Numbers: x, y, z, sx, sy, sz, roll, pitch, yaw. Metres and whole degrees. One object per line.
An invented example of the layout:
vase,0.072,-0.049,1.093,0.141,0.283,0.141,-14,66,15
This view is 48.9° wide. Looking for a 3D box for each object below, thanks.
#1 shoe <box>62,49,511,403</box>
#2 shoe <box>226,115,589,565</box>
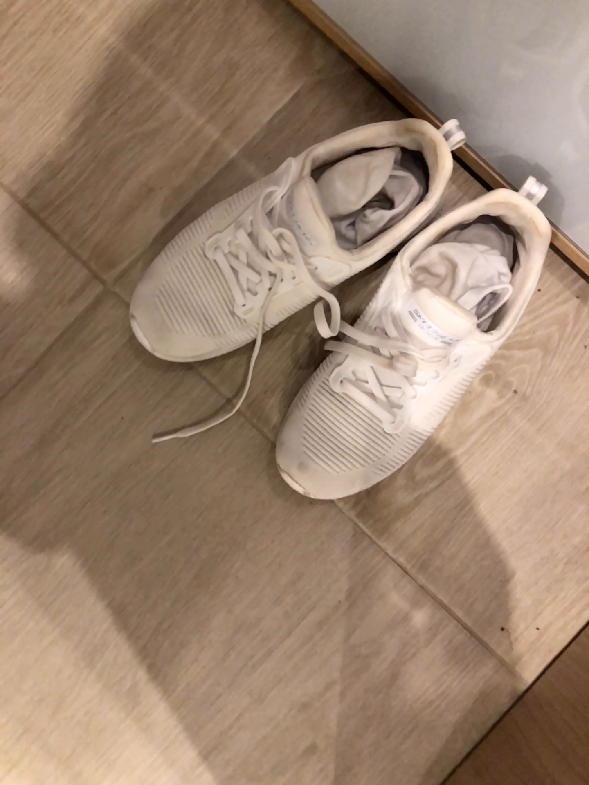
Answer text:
shoe,-0.005,-0.108,0.473,0.270,0.110,0.110,-29,87,-2
shoe,0.088,-0.033,0.466,0.110,0.110,0.280,38,87,2
